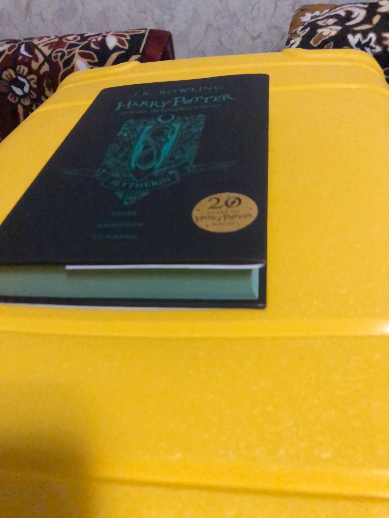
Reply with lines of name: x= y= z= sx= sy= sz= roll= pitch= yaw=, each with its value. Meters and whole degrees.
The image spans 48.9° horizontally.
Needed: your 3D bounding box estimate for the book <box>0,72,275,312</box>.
book: x=-0.021 y=-0.057 z=0.259 sx=0.136 sy=0.030 sz=0.206 roll=0 pitch=42 yaw=10
